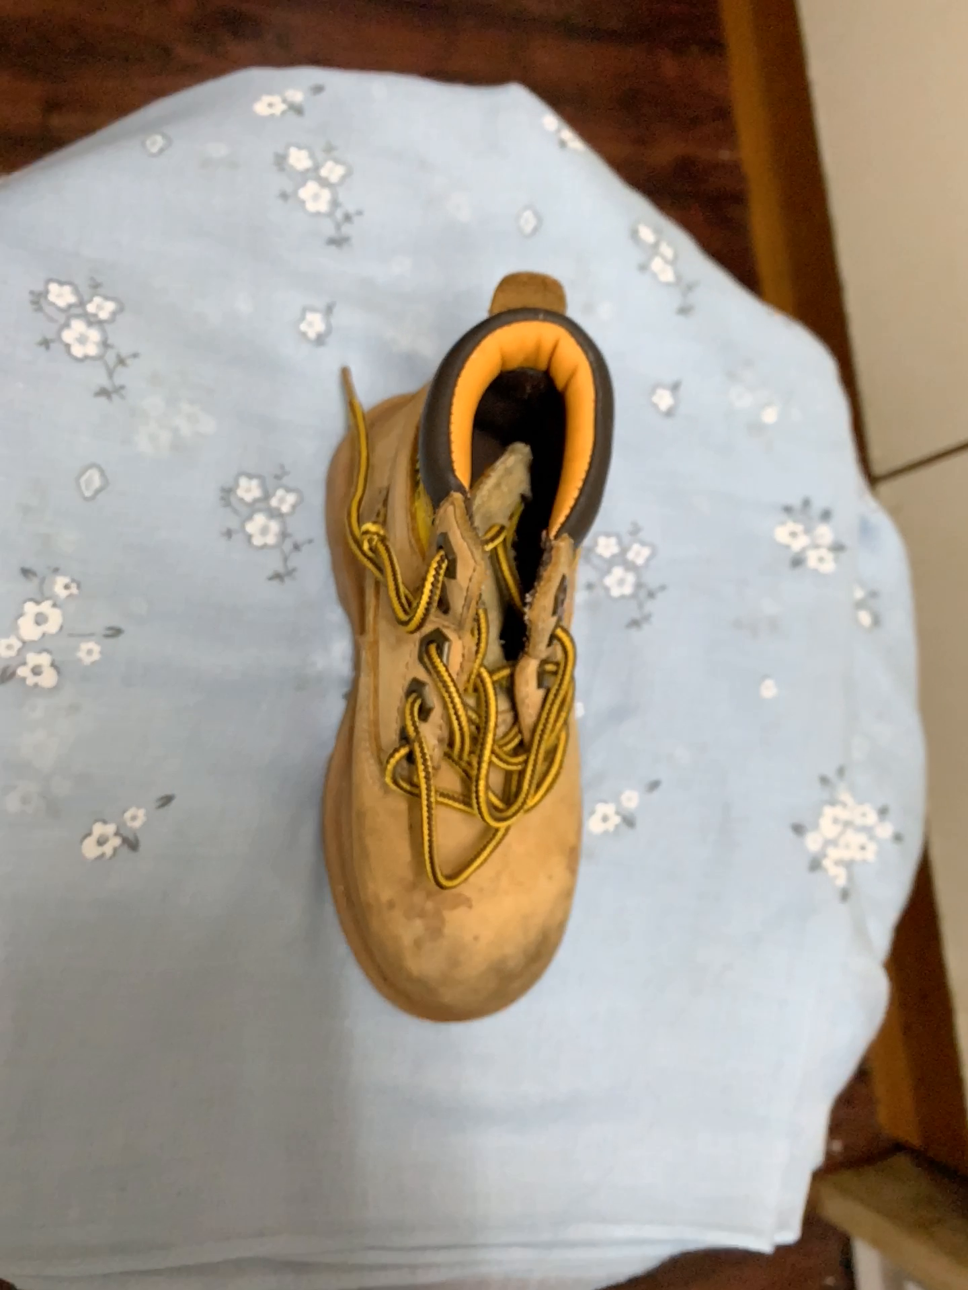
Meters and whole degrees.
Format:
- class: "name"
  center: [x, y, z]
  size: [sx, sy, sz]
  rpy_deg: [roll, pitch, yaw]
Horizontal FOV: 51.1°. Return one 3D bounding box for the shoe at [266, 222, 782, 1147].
- class: "shoe"
  center: [-0.002, 0.010, 0.279]
  size: [0.096, 0.120, 0.190]
  rpy_deg: [-1, 83, -20]
